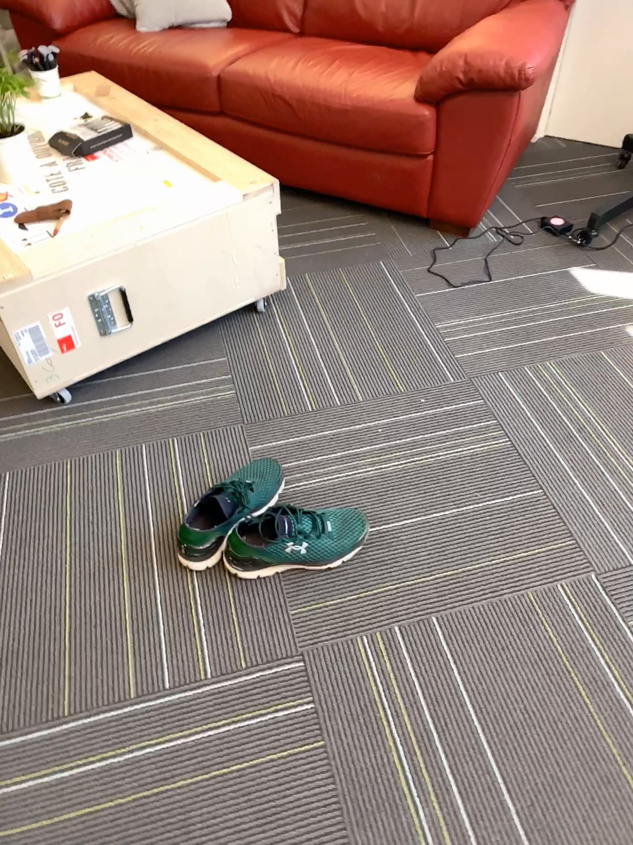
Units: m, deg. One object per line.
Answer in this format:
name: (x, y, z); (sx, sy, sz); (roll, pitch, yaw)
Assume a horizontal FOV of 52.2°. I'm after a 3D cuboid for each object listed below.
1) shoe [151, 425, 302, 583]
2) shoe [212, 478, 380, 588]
shoe: (-0.175, 0.160, 1.335); (0.120, 0.109, 0.311); (28, 52, 26)
shoe: (-0.041, 0.219, 1.293); (0.310, 0.119, 0.121); (-9, 46, -6)
